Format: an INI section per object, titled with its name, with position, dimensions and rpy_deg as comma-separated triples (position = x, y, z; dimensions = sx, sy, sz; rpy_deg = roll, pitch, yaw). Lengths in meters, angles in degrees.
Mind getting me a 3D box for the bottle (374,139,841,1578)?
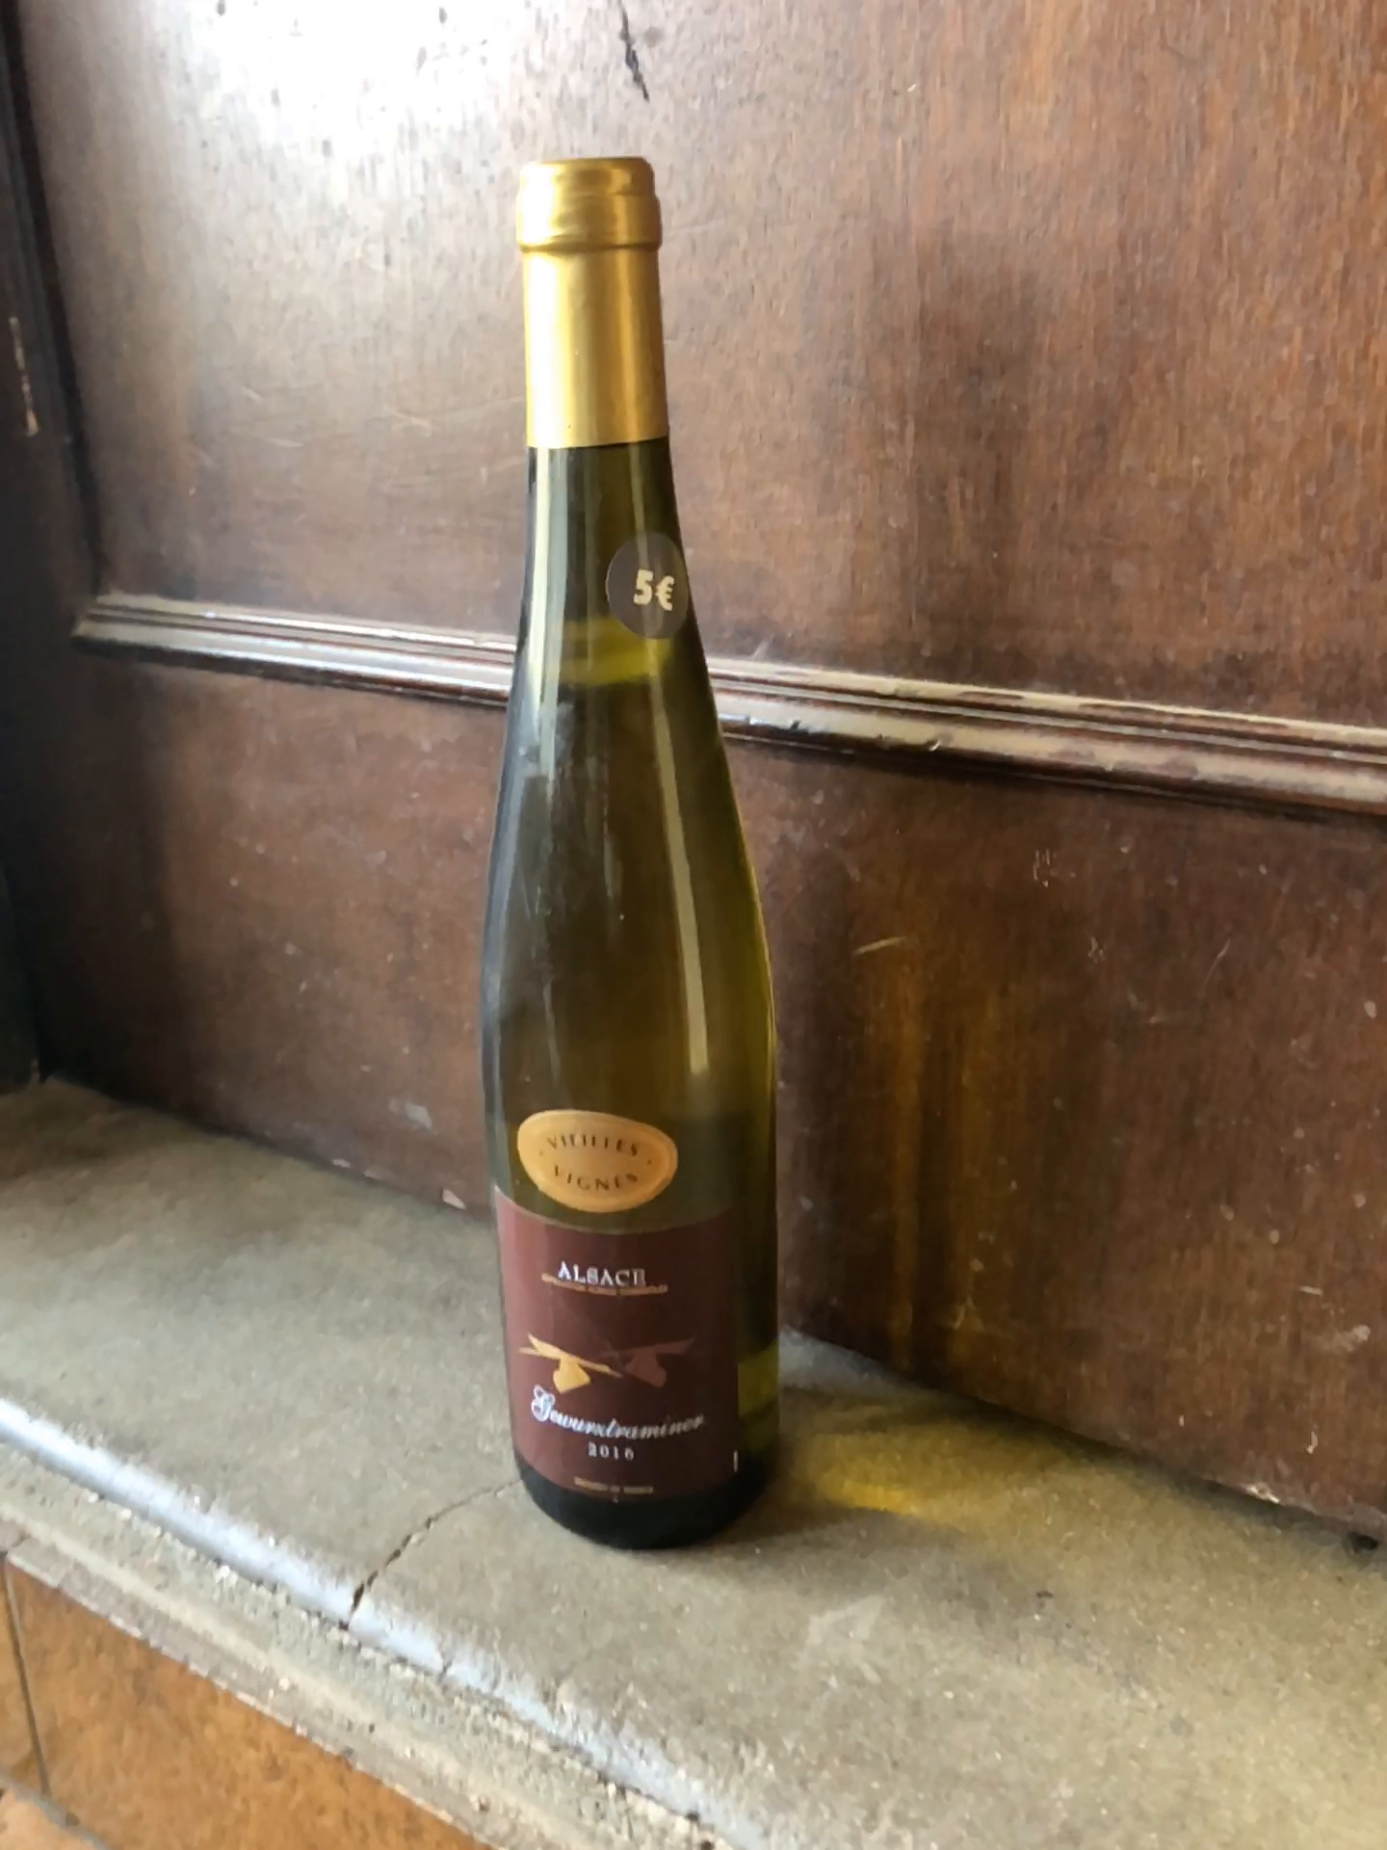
[bottle]
position = -0.007, -0.003, 0.352
dimensions = 0.080, 0.308, 0.080
rpy_deg = -1, 21, 1
